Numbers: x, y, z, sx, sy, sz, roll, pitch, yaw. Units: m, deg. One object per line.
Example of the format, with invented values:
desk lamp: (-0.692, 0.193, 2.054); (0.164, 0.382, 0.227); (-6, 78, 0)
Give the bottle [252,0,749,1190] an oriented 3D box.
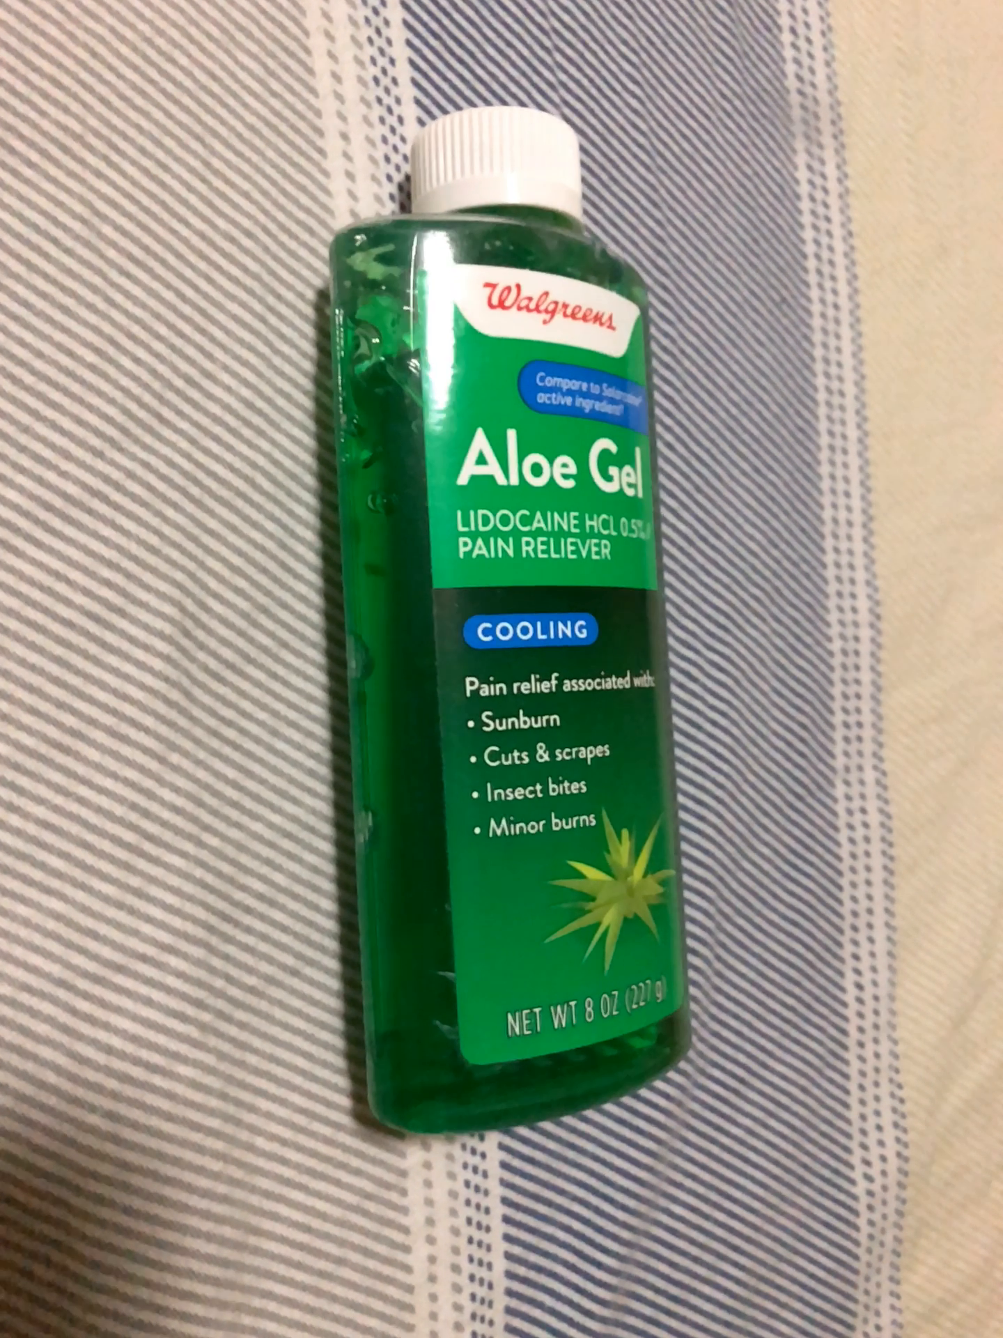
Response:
bottle: (0.002, -0.013, 0.206); (0.080, 0.030, 0.180); (-2, 88, -39)
